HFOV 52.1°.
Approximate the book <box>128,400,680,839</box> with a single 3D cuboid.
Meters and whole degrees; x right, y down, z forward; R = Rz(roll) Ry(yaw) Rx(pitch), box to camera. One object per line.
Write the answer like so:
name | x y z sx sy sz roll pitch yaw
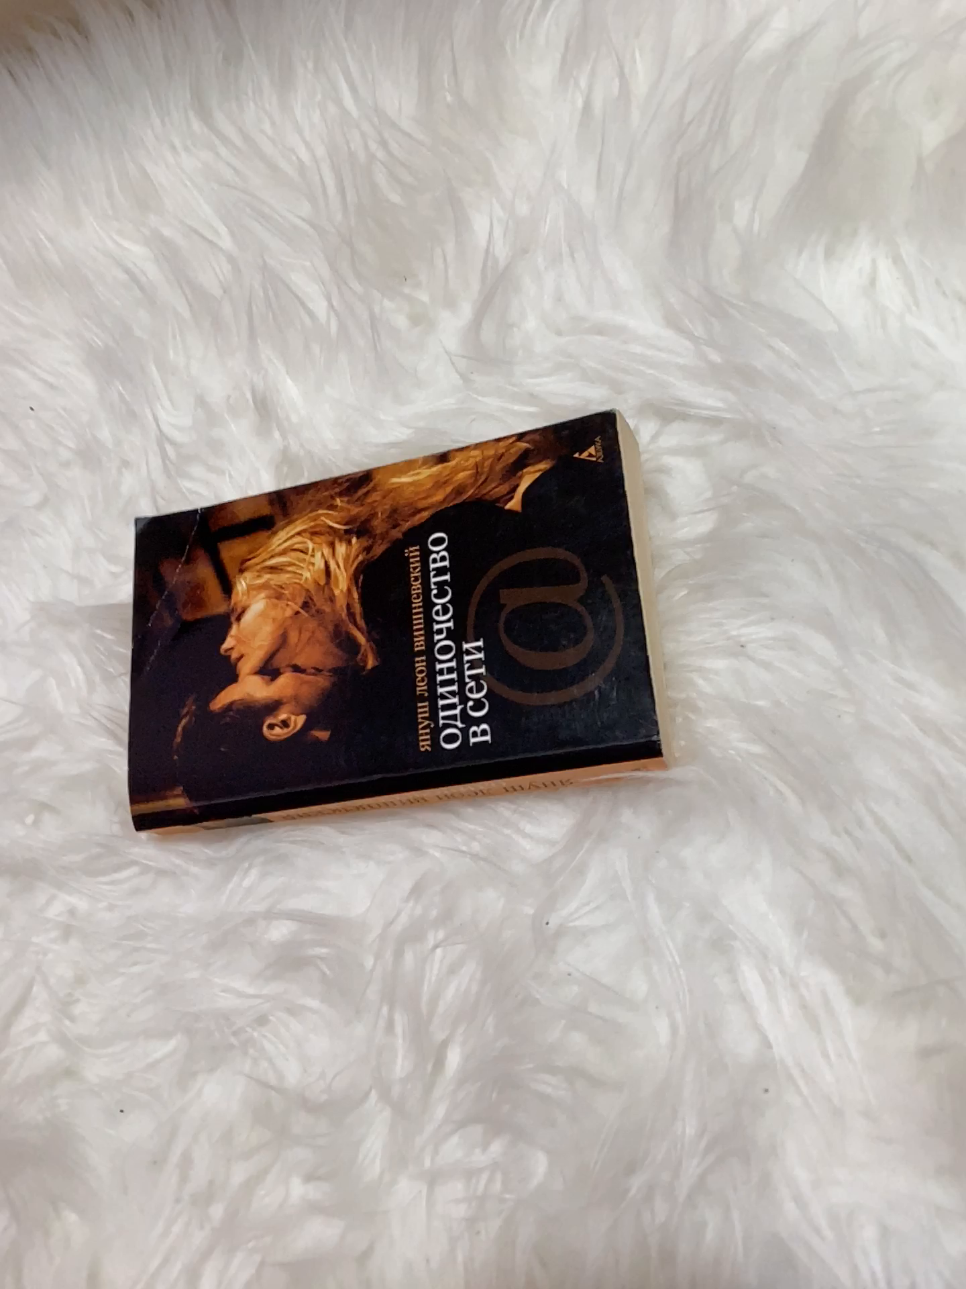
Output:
book | -0.033 -0.005 0.332 0.177 0.030 0.113 -10 71 15
